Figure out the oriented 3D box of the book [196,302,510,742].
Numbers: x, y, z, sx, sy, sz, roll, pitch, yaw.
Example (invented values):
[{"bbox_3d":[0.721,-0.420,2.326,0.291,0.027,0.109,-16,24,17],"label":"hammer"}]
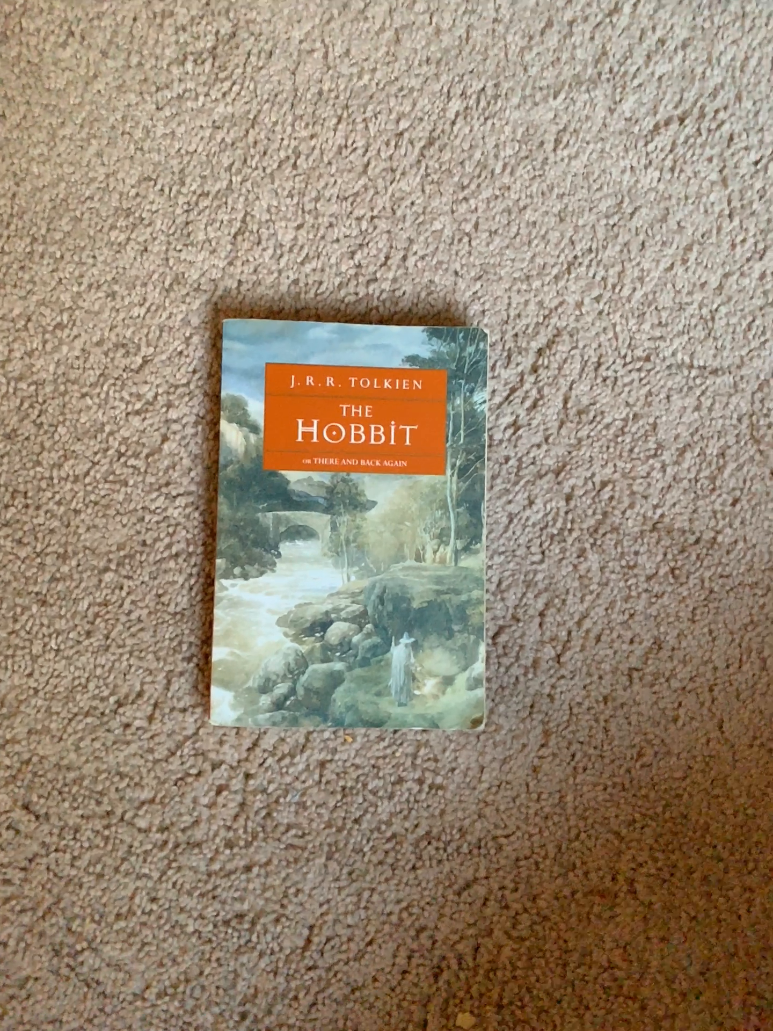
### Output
[{"bbox_3d":[-0.016,0.001,0.410,0.150,0.030,0.220,0,81,-3],"label":"book"}]
